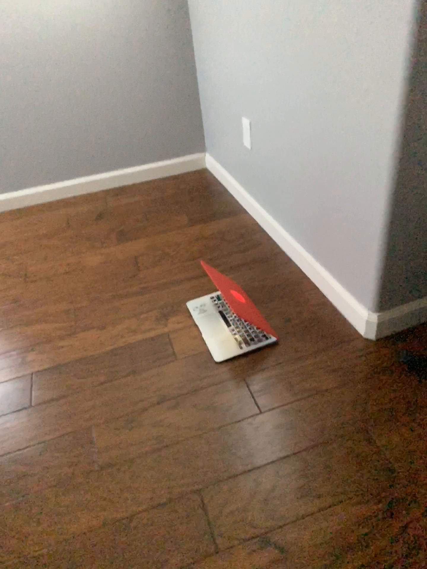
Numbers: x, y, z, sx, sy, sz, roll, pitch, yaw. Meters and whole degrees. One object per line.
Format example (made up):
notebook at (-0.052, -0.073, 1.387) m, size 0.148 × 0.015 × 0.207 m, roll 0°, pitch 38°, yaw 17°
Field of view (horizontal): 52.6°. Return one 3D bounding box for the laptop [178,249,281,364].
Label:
laptop at (0.041, 0.053, 1.280) m, size 0.198 × 0.139 × 0.303 m, roll -17°, pitch 37°, yaw -12°
